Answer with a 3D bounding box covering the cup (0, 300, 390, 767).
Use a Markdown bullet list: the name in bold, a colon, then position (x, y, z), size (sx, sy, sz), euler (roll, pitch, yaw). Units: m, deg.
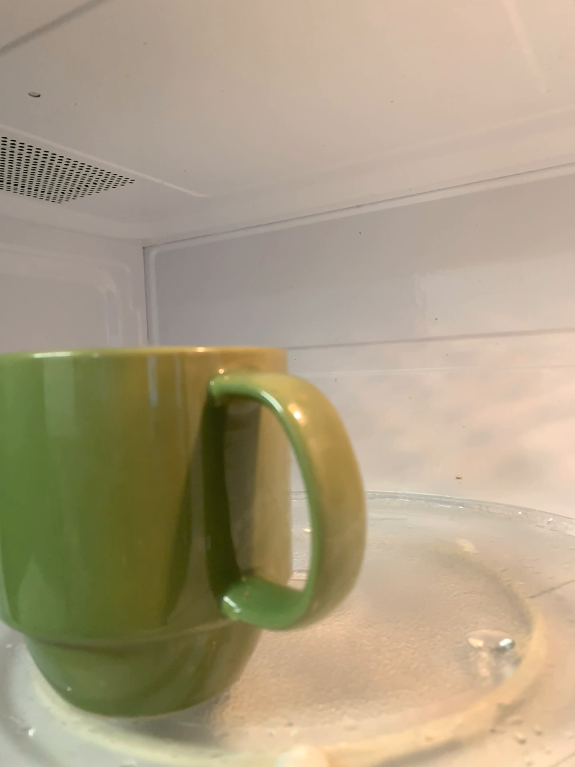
- **cup**: position (-0.051, 0.032, 0.160), size (0.130, 0.090, 0.080), euler (-1, 2, 42)
